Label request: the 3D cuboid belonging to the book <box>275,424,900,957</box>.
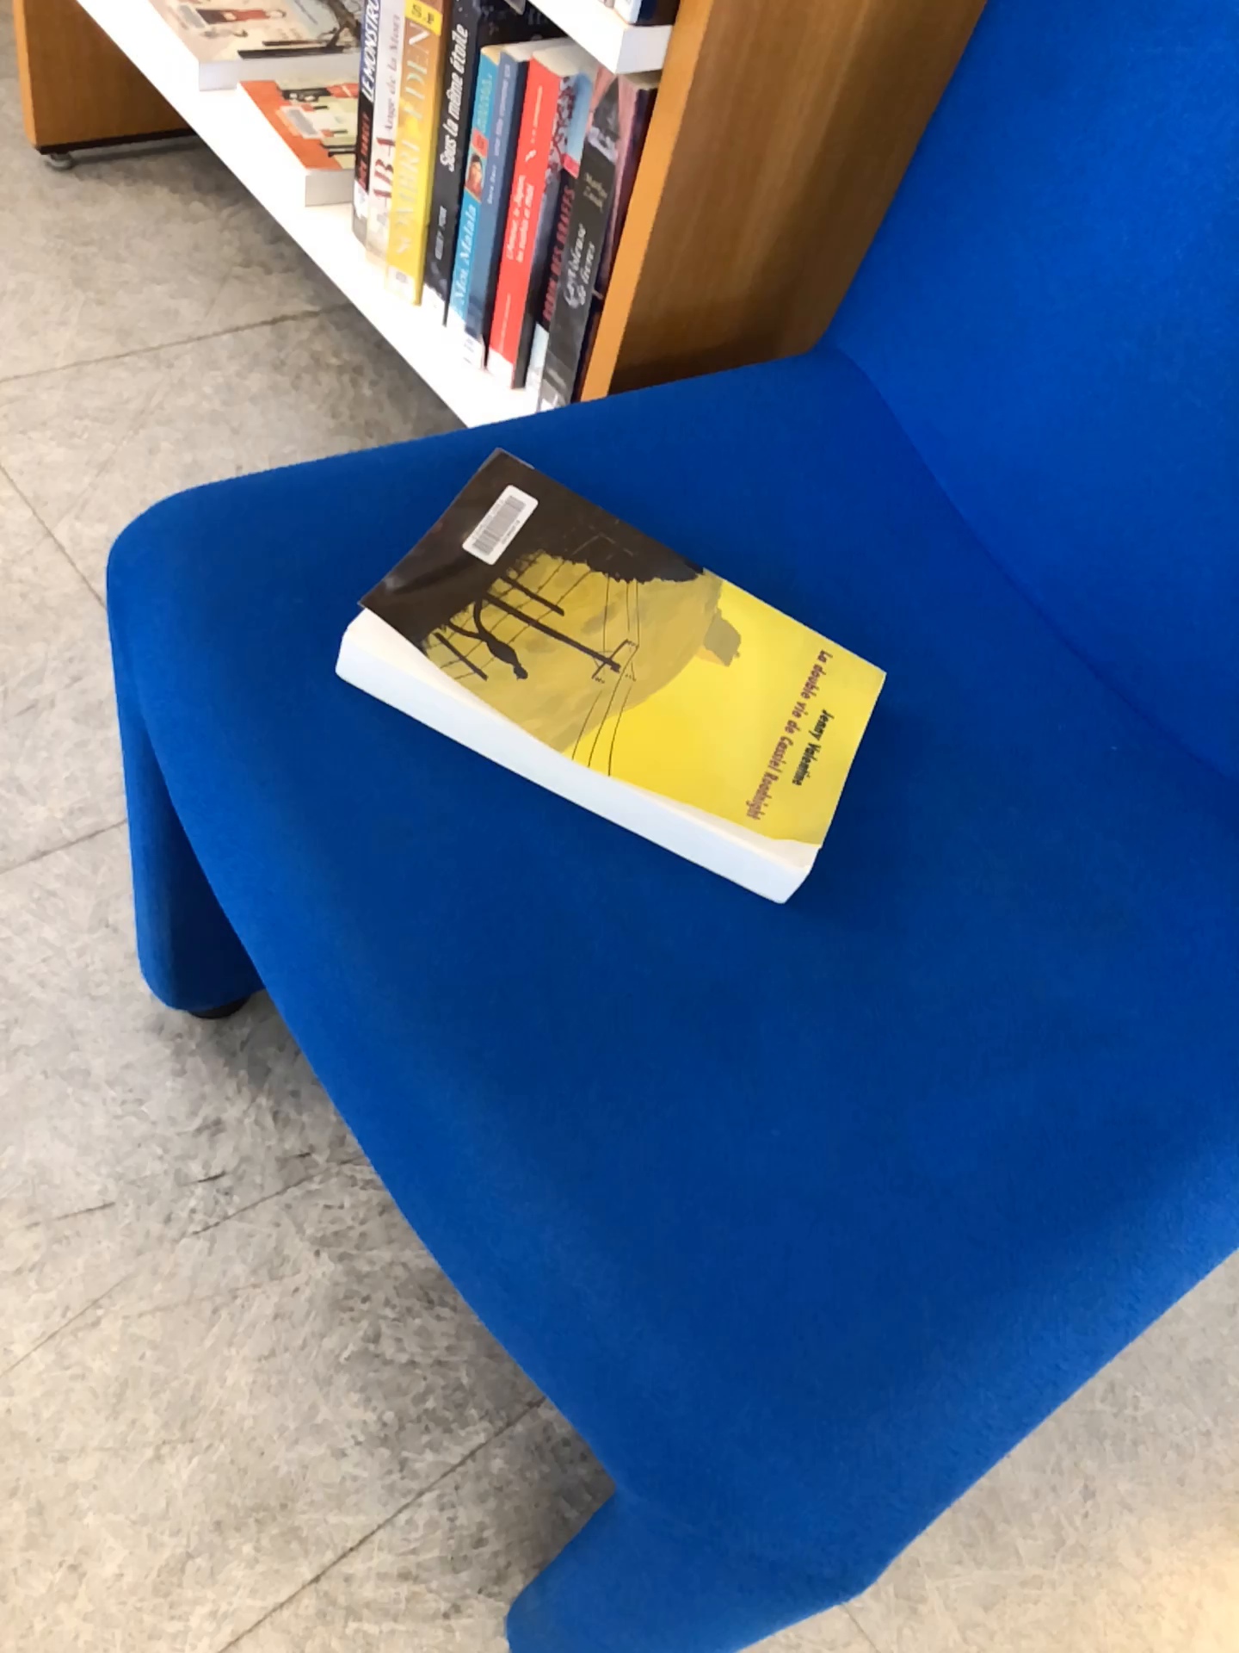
[{"bbox_3d":[-0.006,-0.062,0.559,0.214,0.040,0.146,30,50,1],"label":"book"}]
